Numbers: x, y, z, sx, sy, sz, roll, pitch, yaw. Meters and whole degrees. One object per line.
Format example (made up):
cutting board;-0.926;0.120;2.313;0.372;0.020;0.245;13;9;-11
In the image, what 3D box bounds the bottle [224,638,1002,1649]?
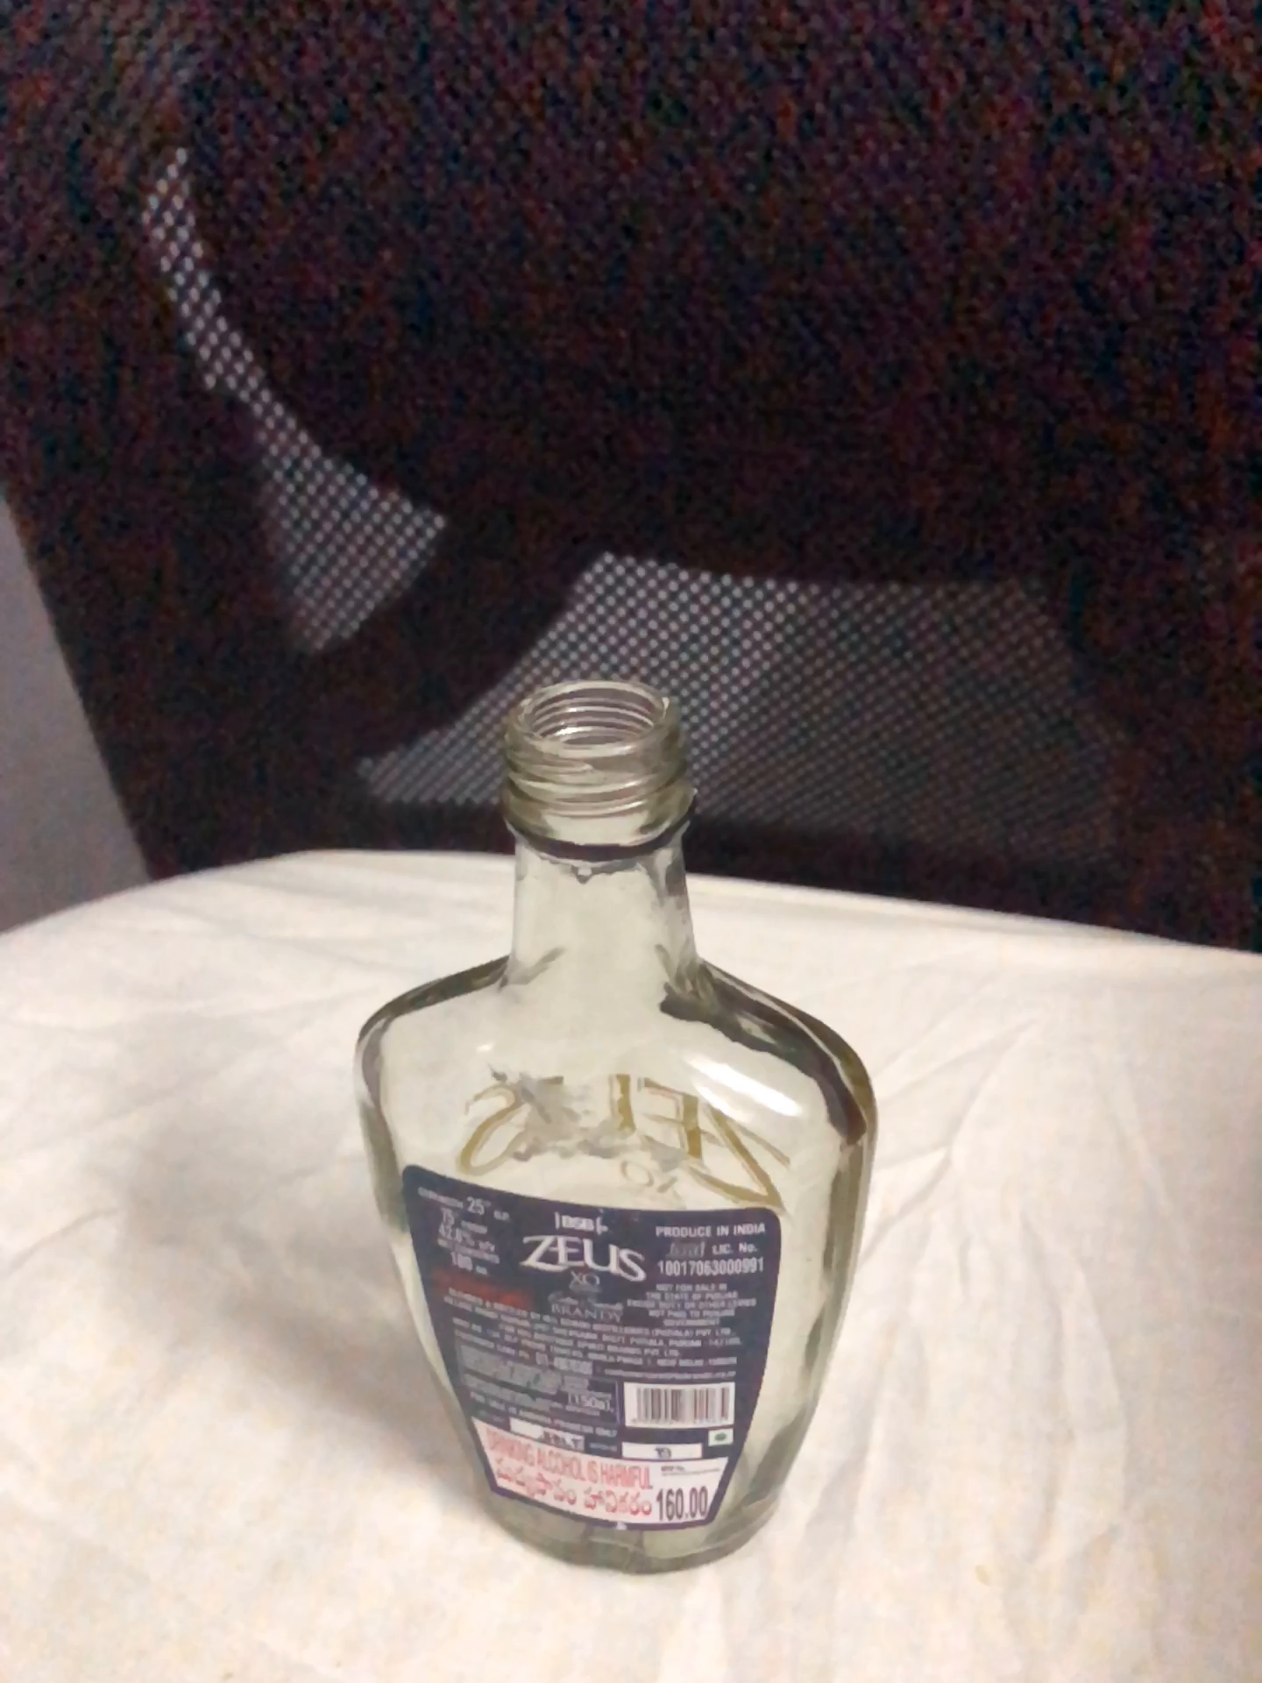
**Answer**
bottle;0.002;0.054;0.225;0.090;0.159;0.050;6;35;10
